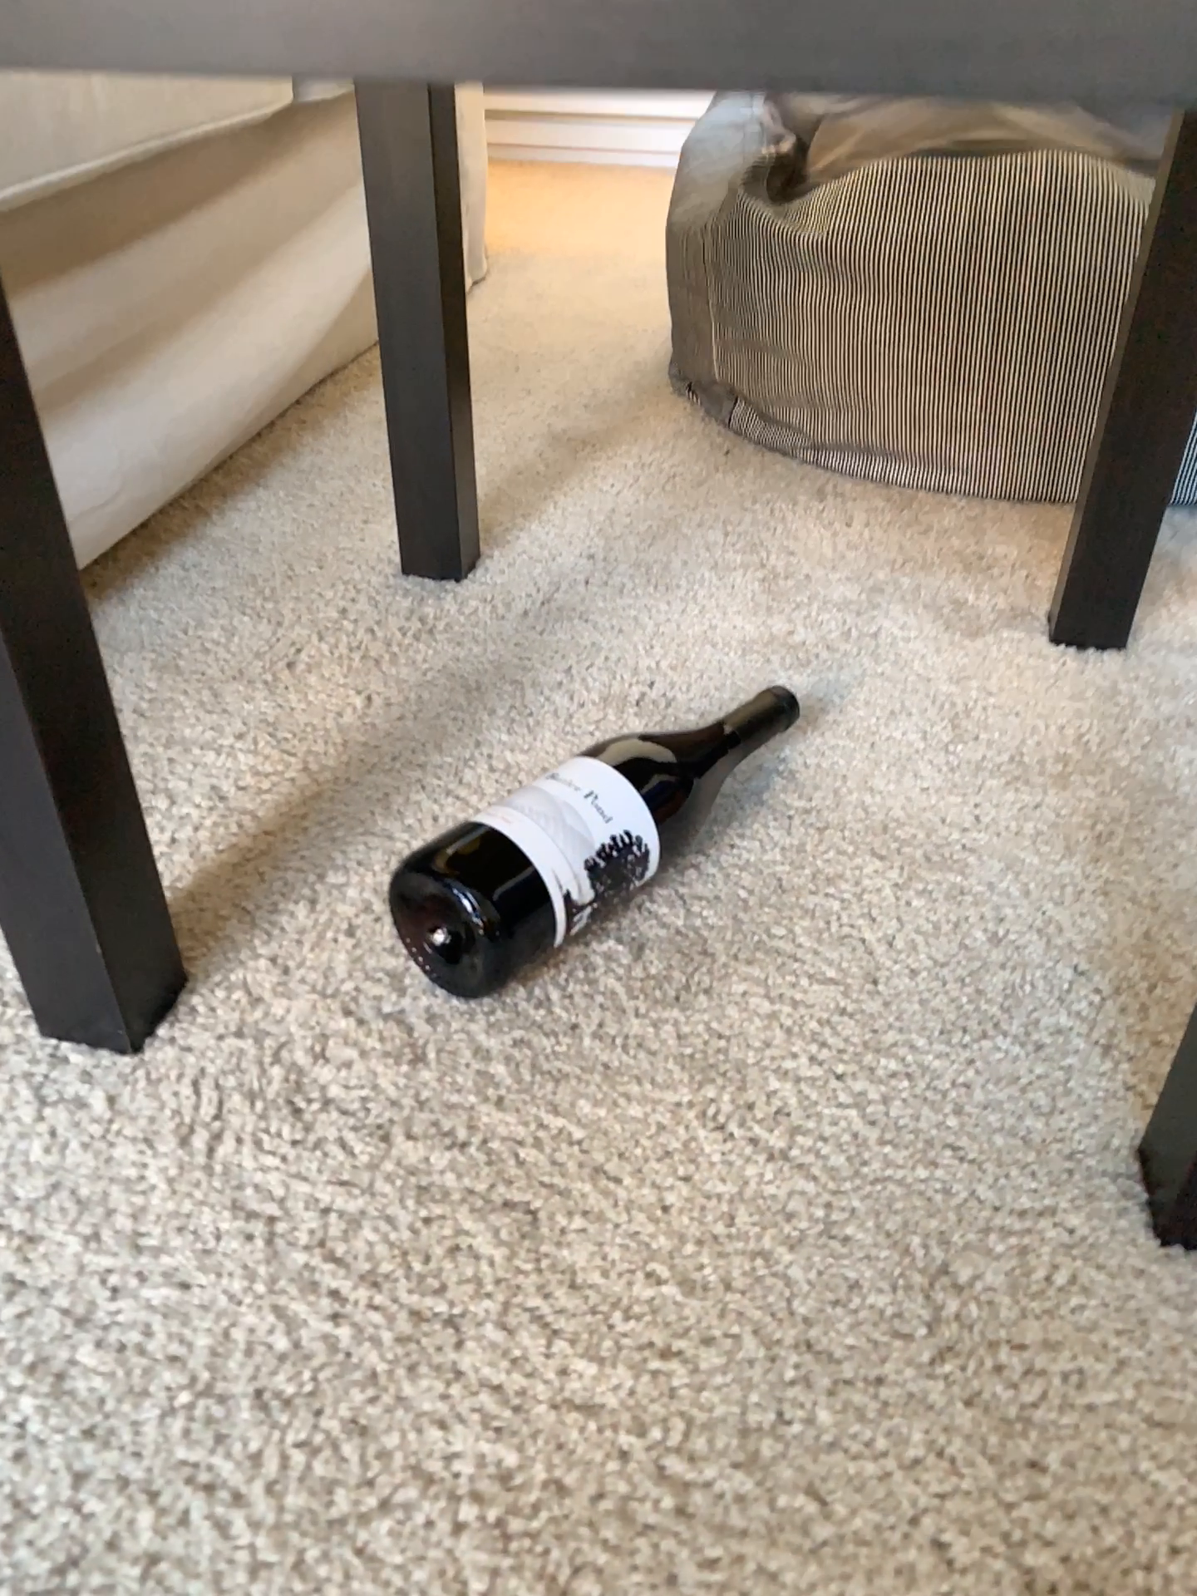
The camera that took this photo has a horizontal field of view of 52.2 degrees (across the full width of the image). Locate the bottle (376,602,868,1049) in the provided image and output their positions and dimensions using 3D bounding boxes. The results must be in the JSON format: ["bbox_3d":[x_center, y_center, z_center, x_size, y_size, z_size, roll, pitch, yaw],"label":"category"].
[{"bbox_3d":[0.020,0.003,0.644,0.080,0.080,0.281,41,53,18],"label":"bottle"}]
